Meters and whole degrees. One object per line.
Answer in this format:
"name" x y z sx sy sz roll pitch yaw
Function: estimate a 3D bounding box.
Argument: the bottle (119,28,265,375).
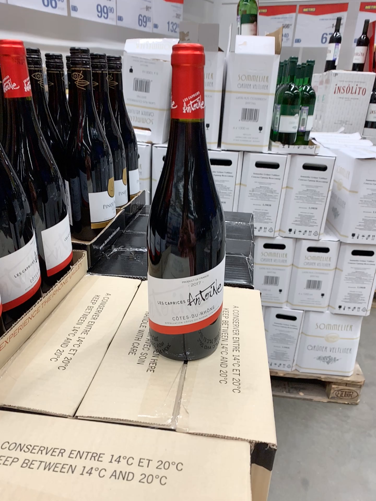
"bottle" -0.007 -0.039 0.380 0.090 0.299 0.090 3 23 -1
